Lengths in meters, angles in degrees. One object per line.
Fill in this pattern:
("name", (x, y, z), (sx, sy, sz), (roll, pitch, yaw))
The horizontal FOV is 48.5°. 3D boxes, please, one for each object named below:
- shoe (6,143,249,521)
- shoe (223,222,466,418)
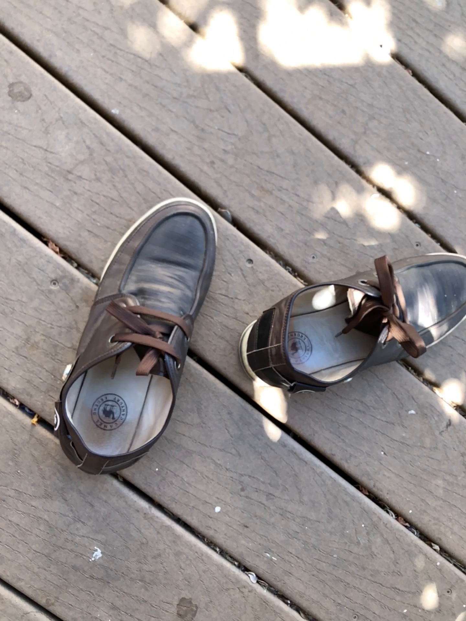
("shoe", (-0.094, 0.019, 0.496), (0.110, 0.116, 0.301), (19, 83, -9))
("shoe", (0.158, 0.007, 0.546), (0.304, 0.116, 0.110), (-15, 89, -12))
